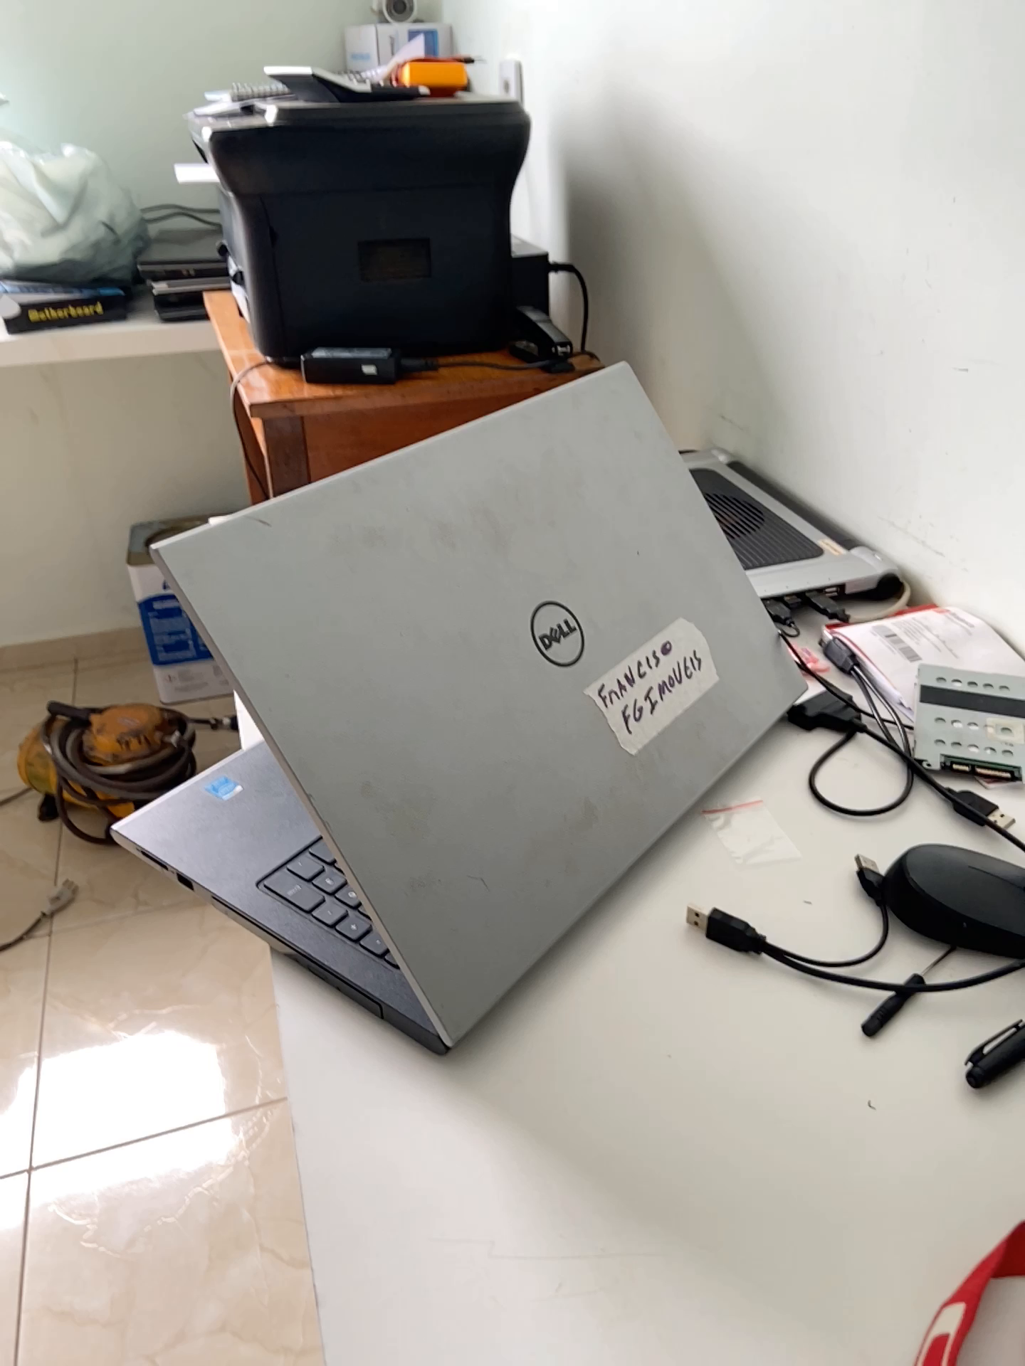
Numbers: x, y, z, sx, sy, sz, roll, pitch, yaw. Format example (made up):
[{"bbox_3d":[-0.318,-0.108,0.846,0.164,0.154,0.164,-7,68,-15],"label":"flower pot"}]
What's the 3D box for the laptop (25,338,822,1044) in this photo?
[{"bbox_3d":[-0.025,-0.043,0.628,0.257,0.204,0.376,21,38,32],"label":"laptop"}]
